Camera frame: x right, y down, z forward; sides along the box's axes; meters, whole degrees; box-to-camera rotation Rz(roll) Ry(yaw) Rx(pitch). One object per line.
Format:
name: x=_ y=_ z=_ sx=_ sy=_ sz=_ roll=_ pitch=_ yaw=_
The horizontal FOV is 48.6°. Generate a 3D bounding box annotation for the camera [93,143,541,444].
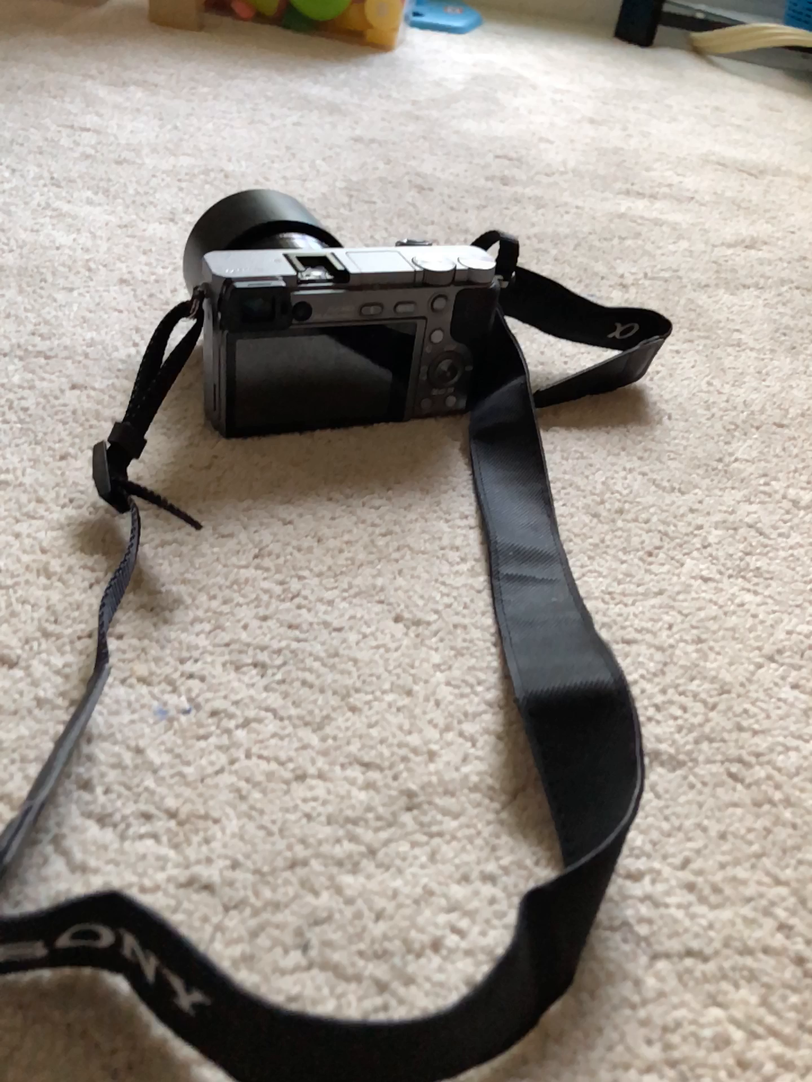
camera: x=-0.041 y=-0.106 z=0.362 sx=0.140 sy=0.070 sz=0.110 roll=-10 pitch=41 yaw=-24
